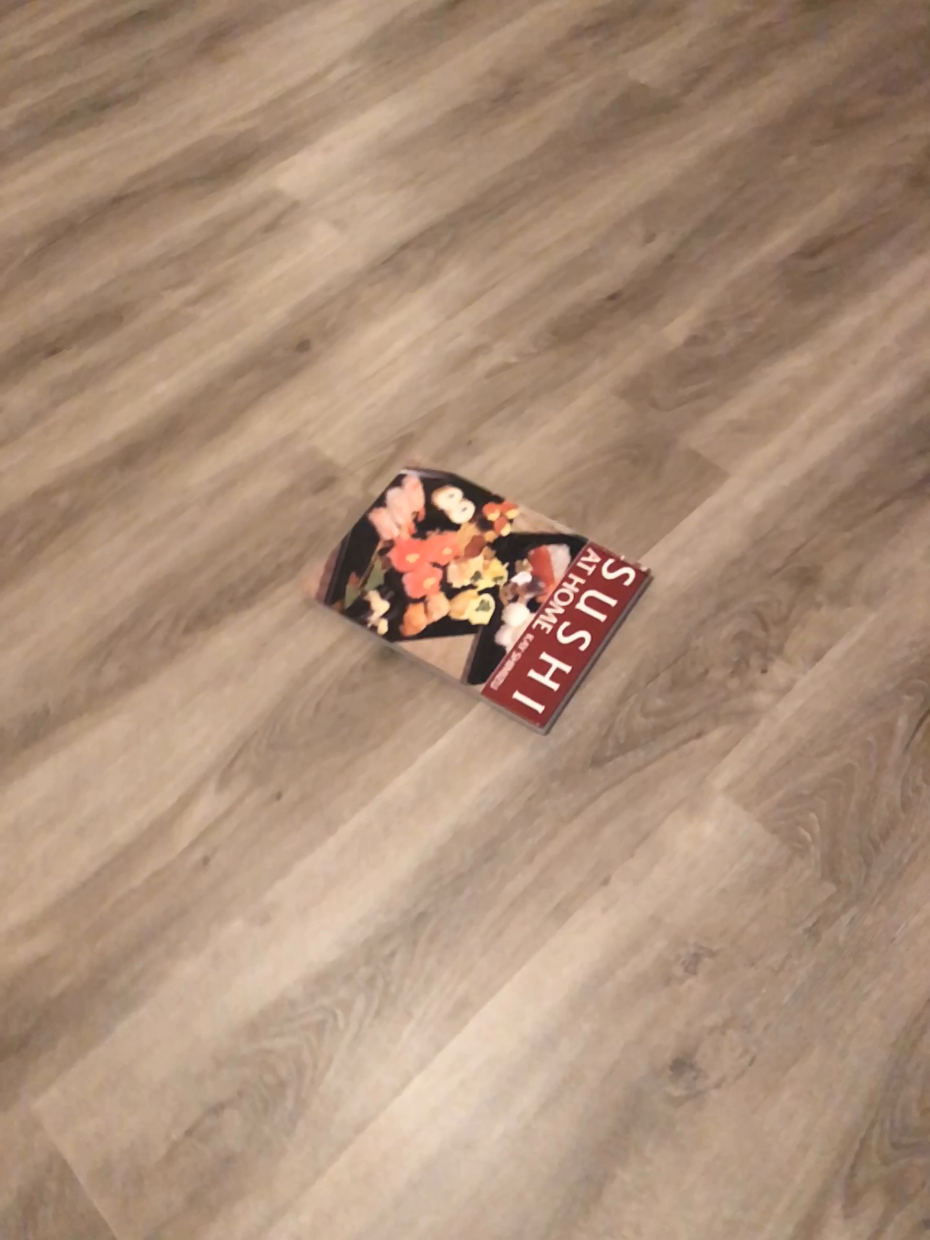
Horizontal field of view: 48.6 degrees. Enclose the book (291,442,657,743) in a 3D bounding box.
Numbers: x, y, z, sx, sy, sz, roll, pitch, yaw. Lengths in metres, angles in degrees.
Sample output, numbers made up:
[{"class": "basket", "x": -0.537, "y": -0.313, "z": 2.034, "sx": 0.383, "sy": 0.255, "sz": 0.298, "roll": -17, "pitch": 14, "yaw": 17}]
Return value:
[{"class": "book", "x": 0.008, "y": -0.034, "z": 0.914, "sx": 0.258, "sy": 0.030, "sz": 0.190, "roll": 29, "pitch": 64, "yaw": 20}]
